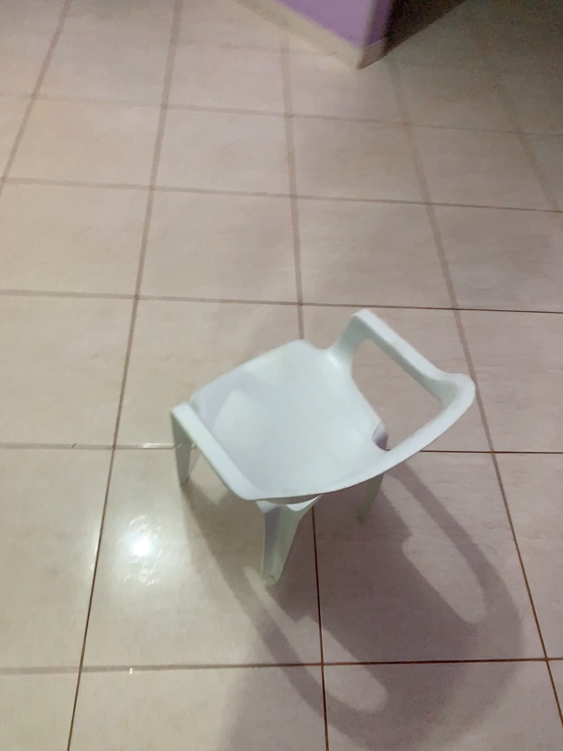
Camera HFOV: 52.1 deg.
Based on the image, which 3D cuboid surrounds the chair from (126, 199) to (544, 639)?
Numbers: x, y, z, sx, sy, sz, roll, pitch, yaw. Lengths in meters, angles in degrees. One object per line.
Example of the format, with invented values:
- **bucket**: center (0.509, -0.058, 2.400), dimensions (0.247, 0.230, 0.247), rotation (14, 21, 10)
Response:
- **chair**: center (0.043, 0.109, 0.980), dimensions (0.402, 0.595, 0.361), rotation (-29, 64, -23)
